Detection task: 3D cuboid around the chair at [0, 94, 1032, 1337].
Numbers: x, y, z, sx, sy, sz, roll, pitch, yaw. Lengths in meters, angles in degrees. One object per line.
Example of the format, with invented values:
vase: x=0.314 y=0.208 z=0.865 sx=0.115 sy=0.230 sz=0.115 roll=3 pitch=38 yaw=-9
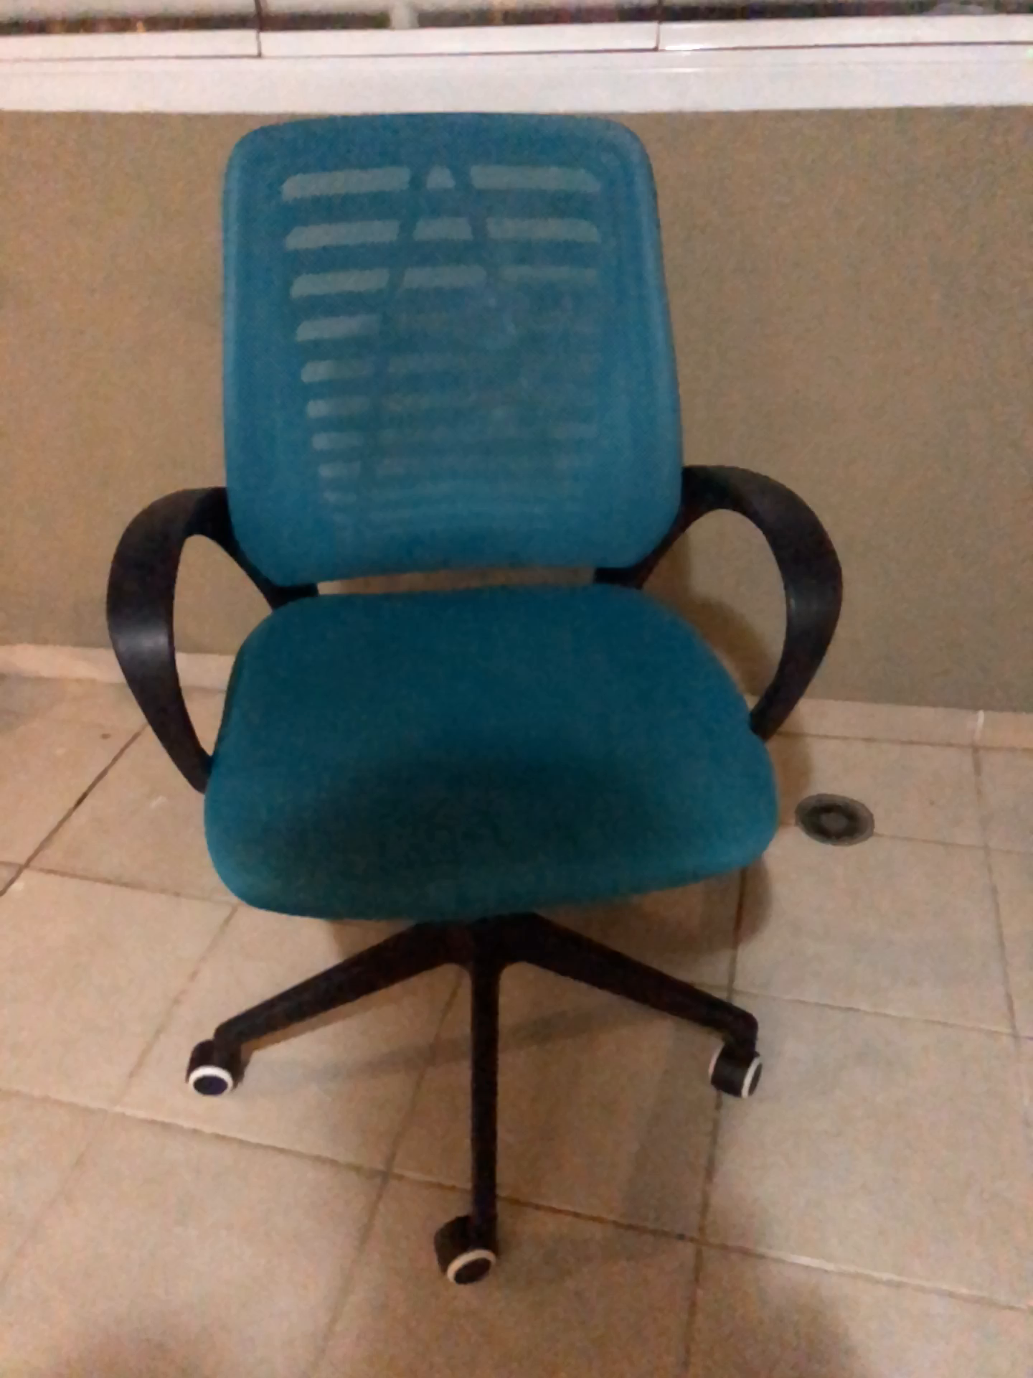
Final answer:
chair: x=-0.046 y=-0.011 z=1.131 sx=0.710 sy=0.923 sz=0.746 roll=-4 pitch=34 yaw=-3
